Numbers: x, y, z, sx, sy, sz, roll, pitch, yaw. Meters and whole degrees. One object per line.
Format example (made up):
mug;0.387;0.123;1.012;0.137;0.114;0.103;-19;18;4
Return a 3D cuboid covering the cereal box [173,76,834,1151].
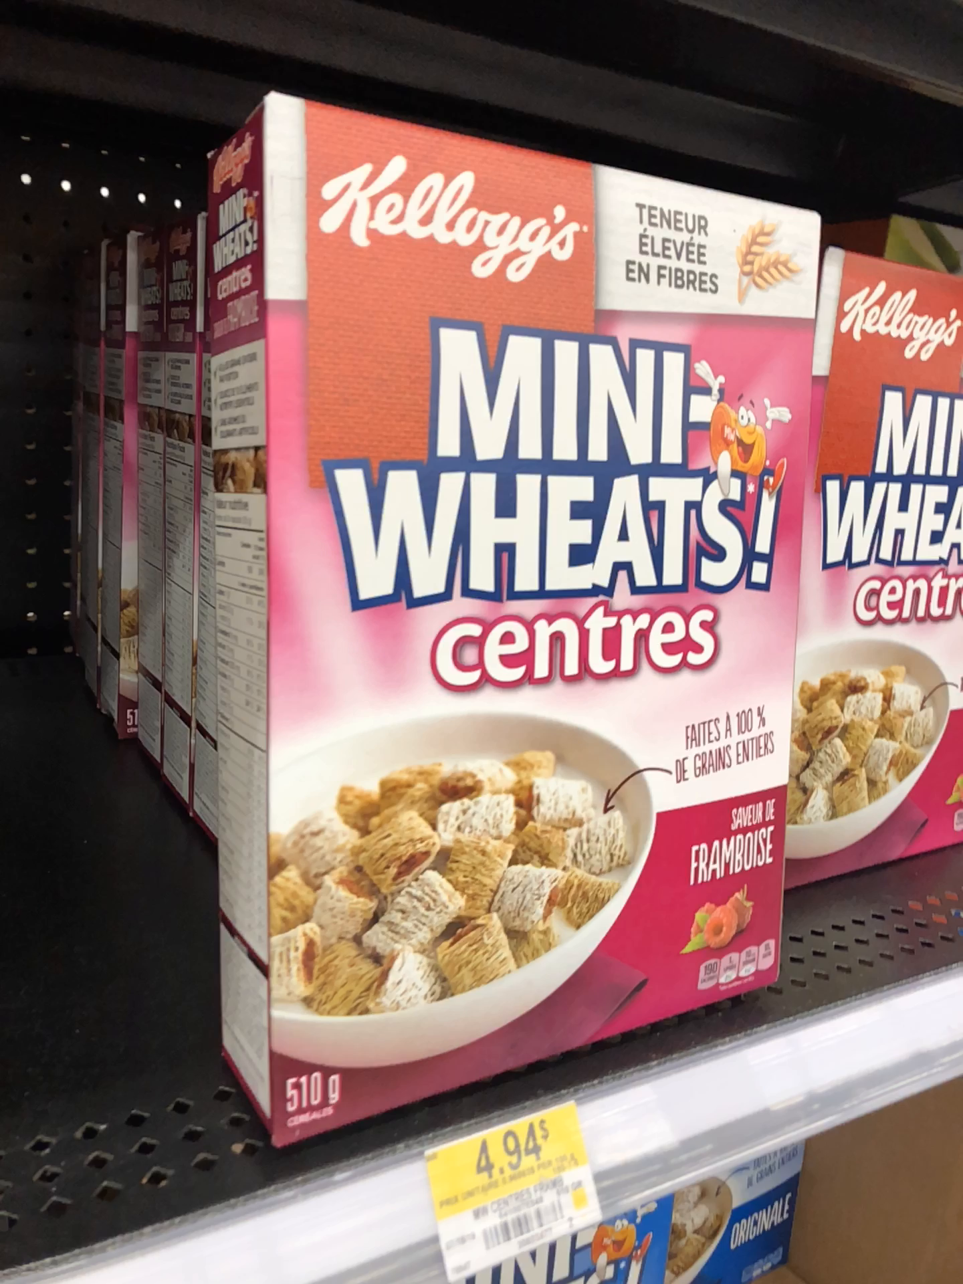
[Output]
cereal box;0.010;-0.009;0.334;0.190;0.259;0.070;-4;9;-32
